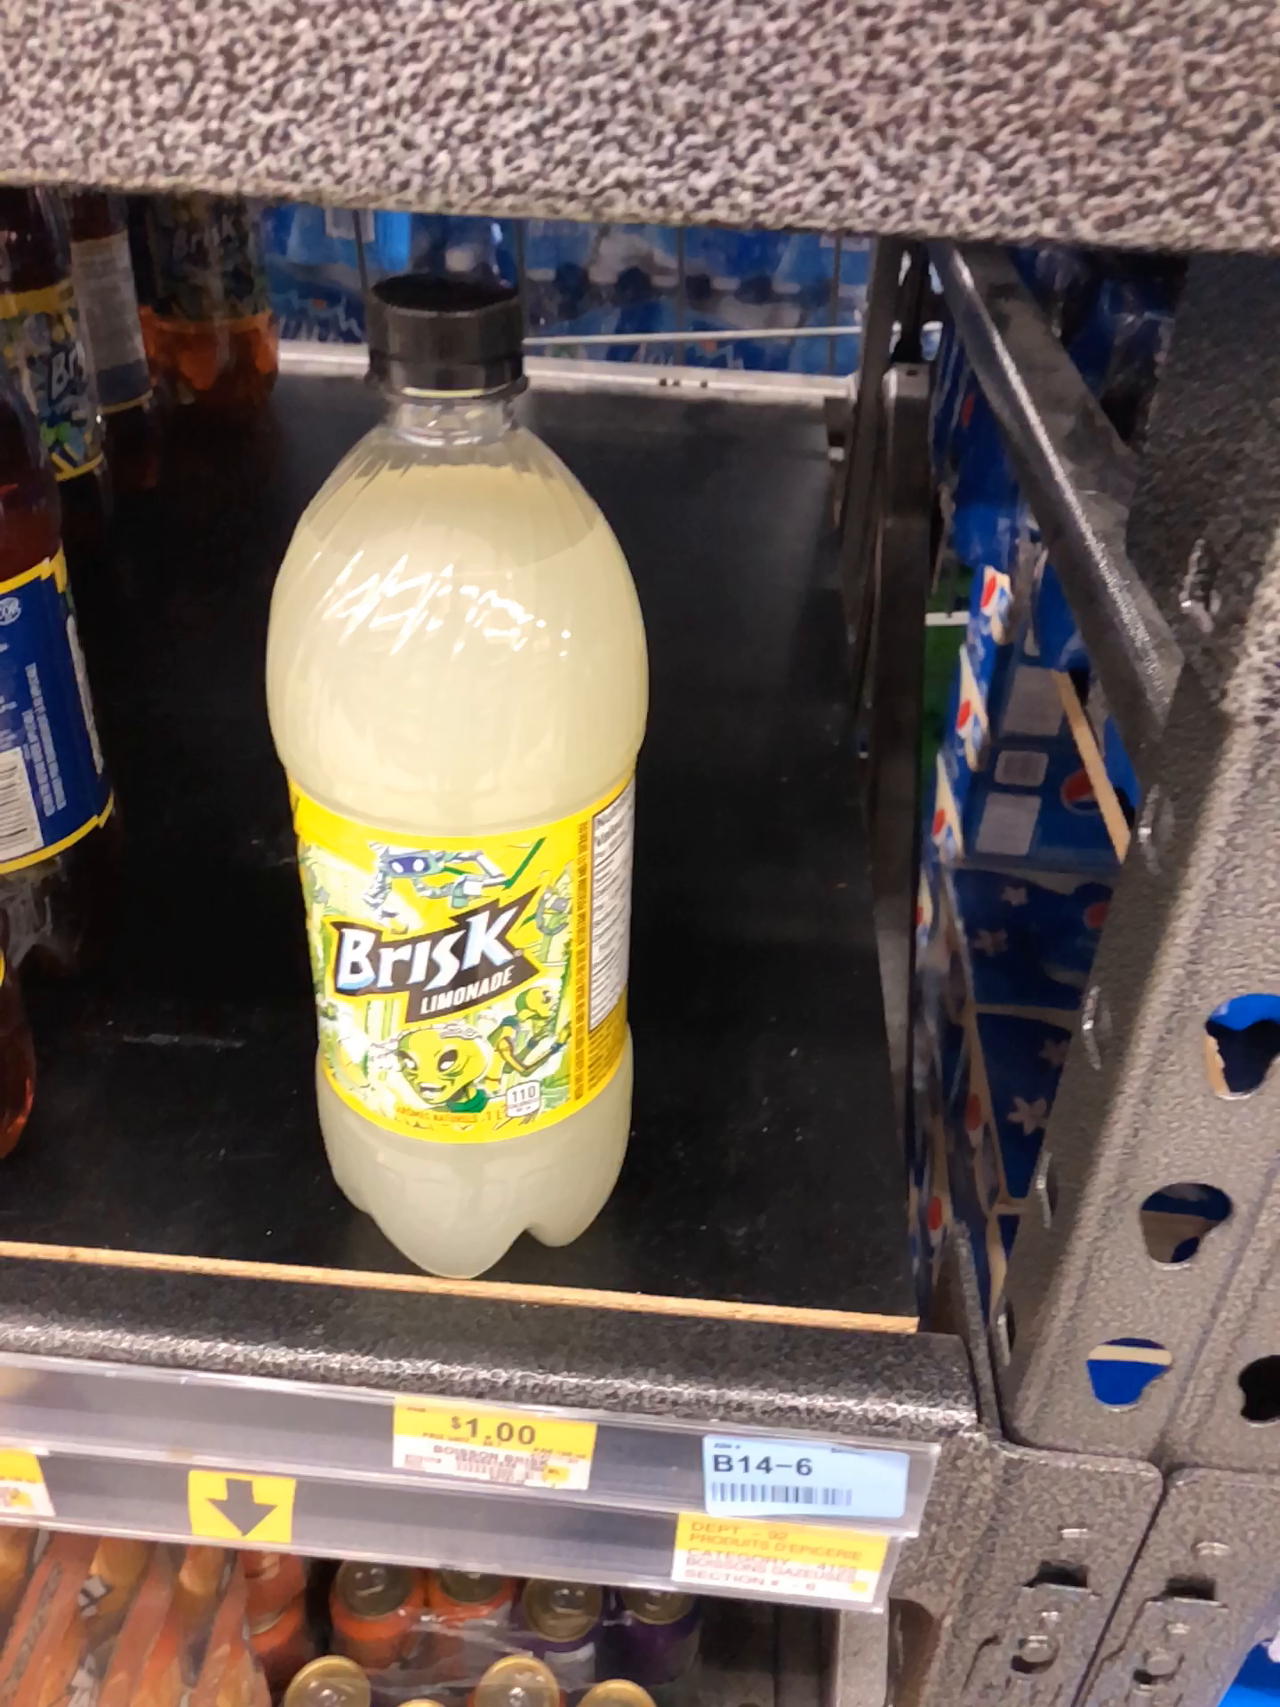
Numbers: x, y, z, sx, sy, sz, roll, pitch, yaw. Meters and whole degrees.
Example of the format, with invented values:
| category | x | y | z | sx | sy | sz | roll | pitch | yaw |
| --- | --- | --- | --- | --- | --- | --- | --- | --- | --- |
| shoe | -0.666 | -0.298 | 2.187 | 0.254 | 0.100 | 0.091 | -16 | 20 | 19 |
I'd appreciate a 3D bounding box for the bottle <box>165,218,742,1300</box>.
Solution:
| category | x | y | z | sx | sy | sz | roll | pitch | yaw |
| --- | --- | --- | --- | --- | --- | --- | --- | --- | --- |
| bottle | -0.033 | -0.012 | 0.328 | 0.090 | 0.228 | 0.091 | 2 | 34 | -2 |
